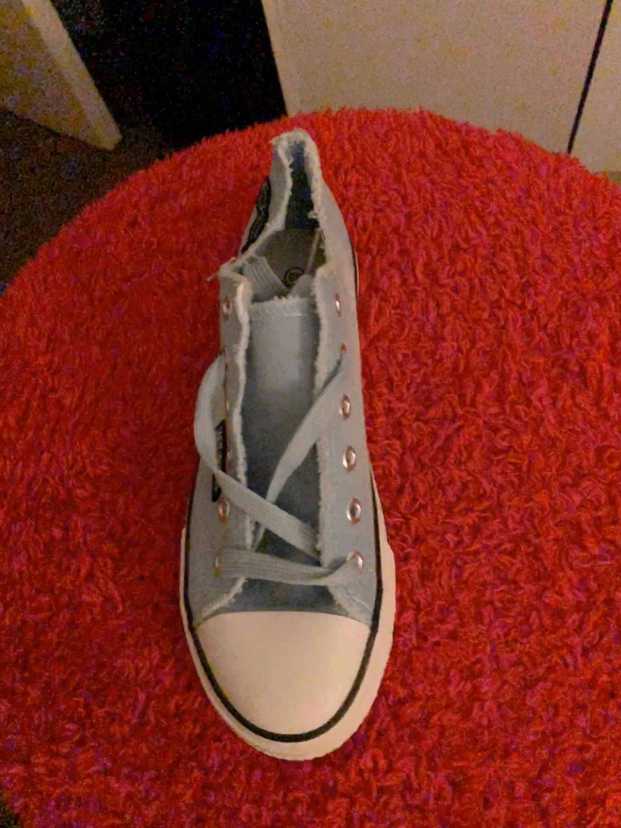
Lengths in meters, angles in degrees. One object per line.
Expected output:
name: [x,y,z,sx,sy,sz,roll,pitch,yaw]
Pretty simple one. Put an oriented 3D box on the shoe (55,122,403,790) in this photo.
shoe: [-0.017,0.007,0.270,0.097,0.087,0.251,-3,64,9]
